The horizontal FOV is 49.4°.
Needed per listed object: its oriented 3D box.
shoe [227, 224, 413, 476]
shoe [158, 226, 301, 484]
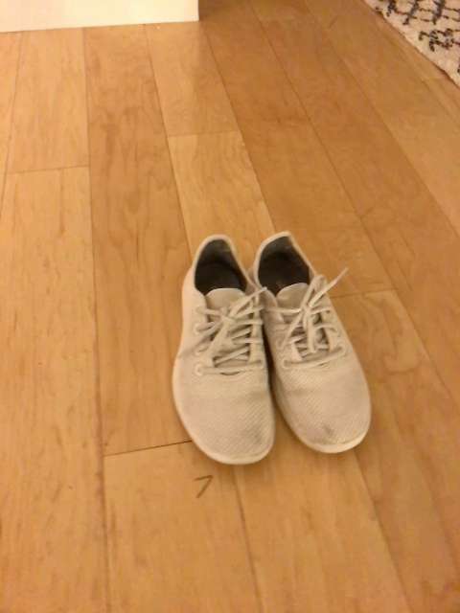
[{"bbox_3d":[0.082,0.033,0.557,0.120,0.070,0.272,-8,53,-8],"label":"shoe"},{"bbox_3d":[-0.012,0.038,0.553,0.120,0.070,0.282,-4,52,-5],"label":"shoe"}]
